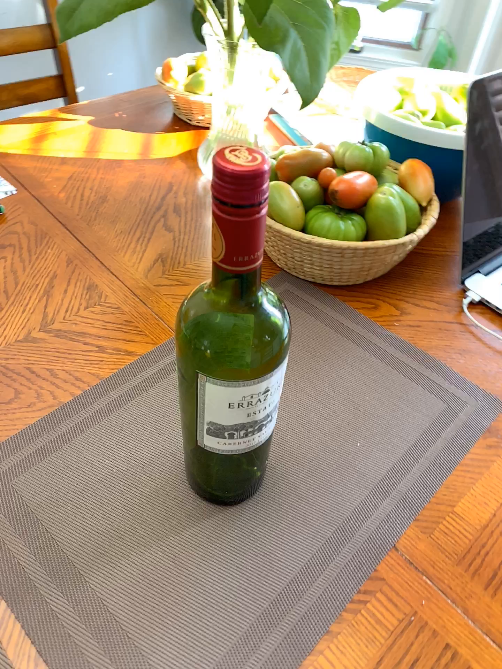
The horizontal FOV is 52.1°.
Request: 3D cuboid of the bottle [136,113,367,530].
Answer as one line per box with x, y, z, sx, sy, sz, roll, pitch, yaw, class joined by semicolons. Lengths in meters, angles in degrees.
-0.010;0.017;0.374;0.090;0.307;0.080;-28;54;-30;bottle
